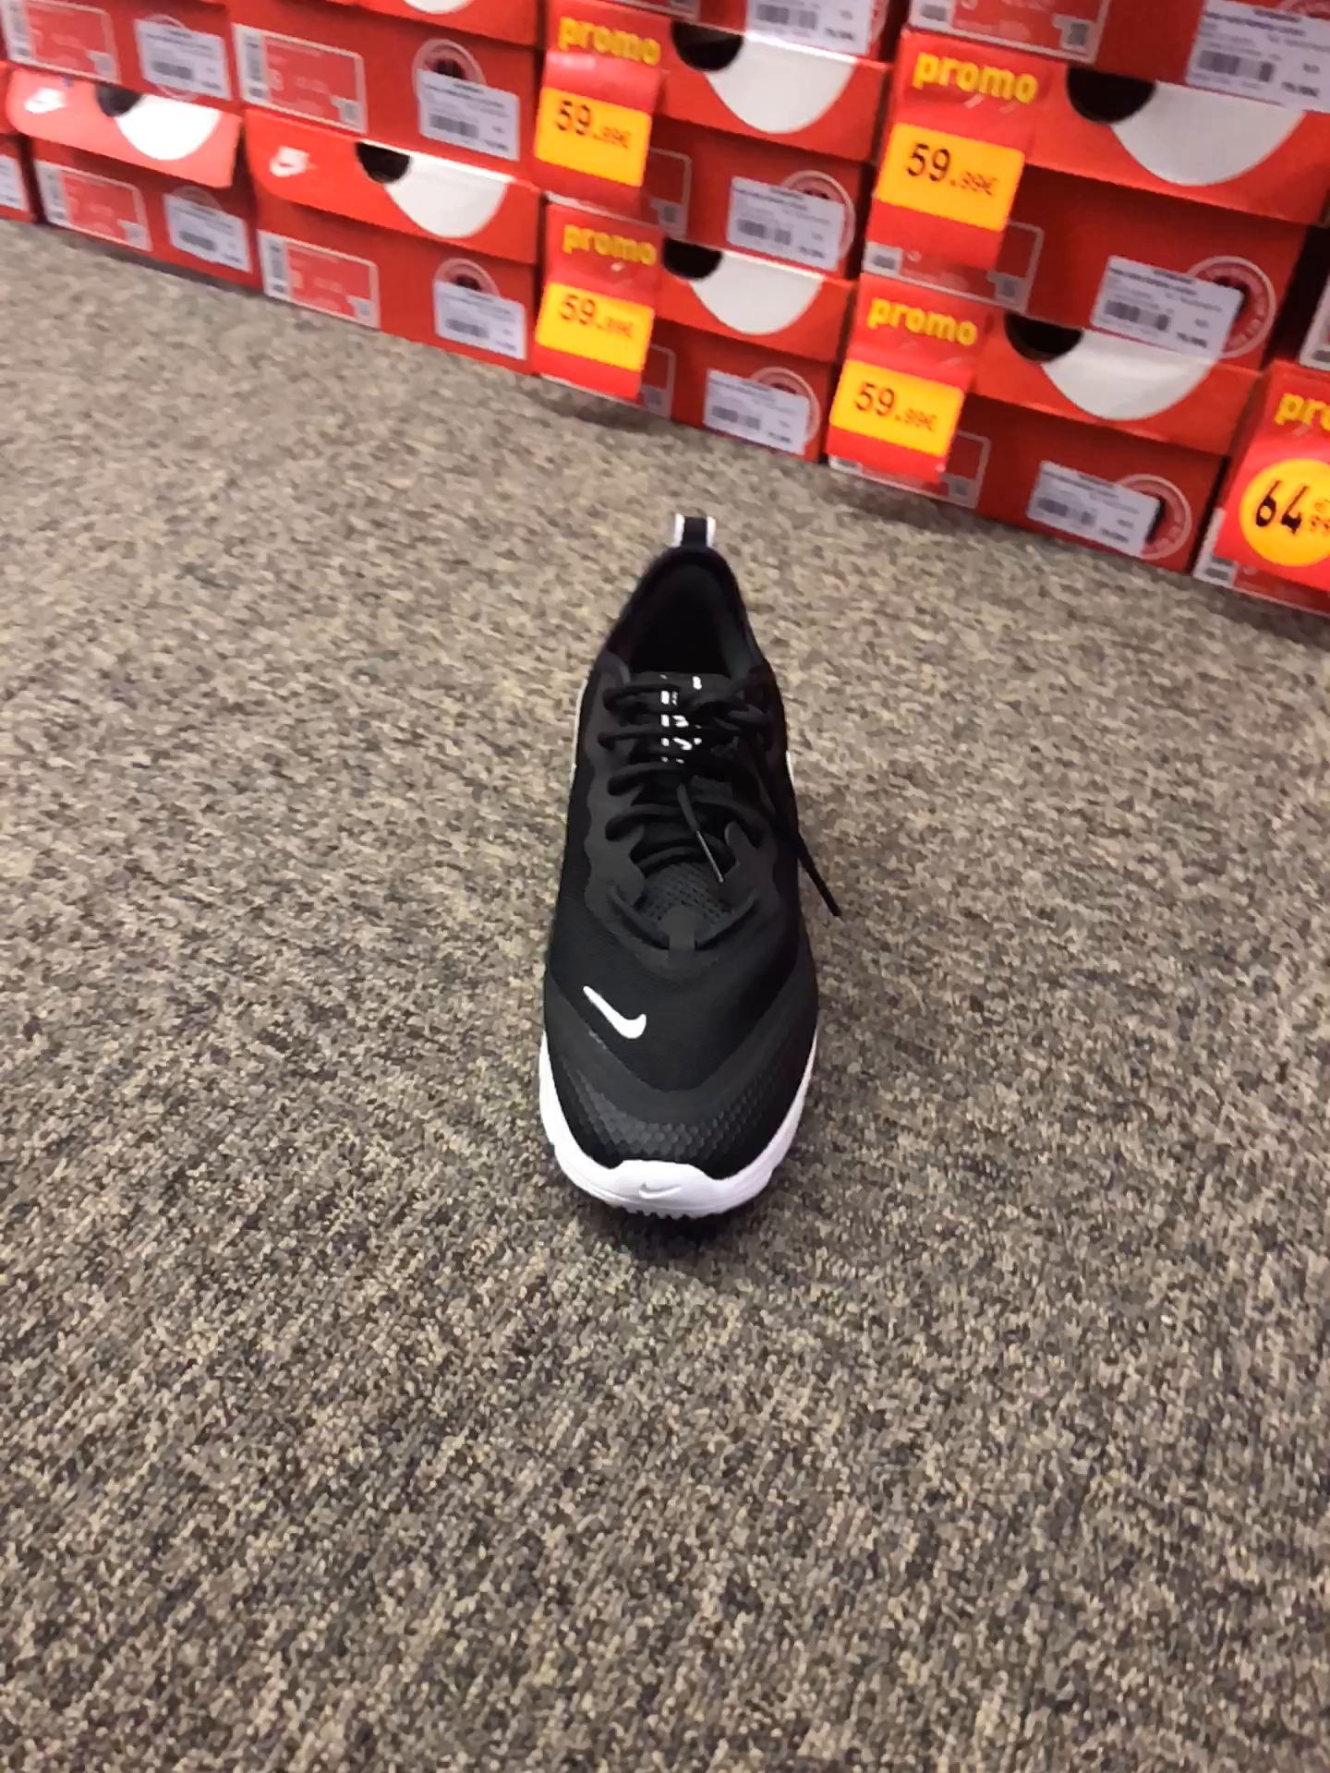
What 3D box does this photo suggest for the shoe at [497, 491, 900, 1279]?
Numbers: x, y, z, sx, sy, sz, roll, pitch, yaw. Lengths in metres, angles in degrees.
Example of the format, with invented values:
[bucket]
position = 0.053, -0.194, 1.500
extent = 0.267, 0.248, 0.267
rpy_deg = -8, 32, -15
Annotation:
[shoe]
position = 0.007, -0.014, 0.492
extent = 0.100, 0.109, 0.258
rpy_deg = 4, 45, -2
